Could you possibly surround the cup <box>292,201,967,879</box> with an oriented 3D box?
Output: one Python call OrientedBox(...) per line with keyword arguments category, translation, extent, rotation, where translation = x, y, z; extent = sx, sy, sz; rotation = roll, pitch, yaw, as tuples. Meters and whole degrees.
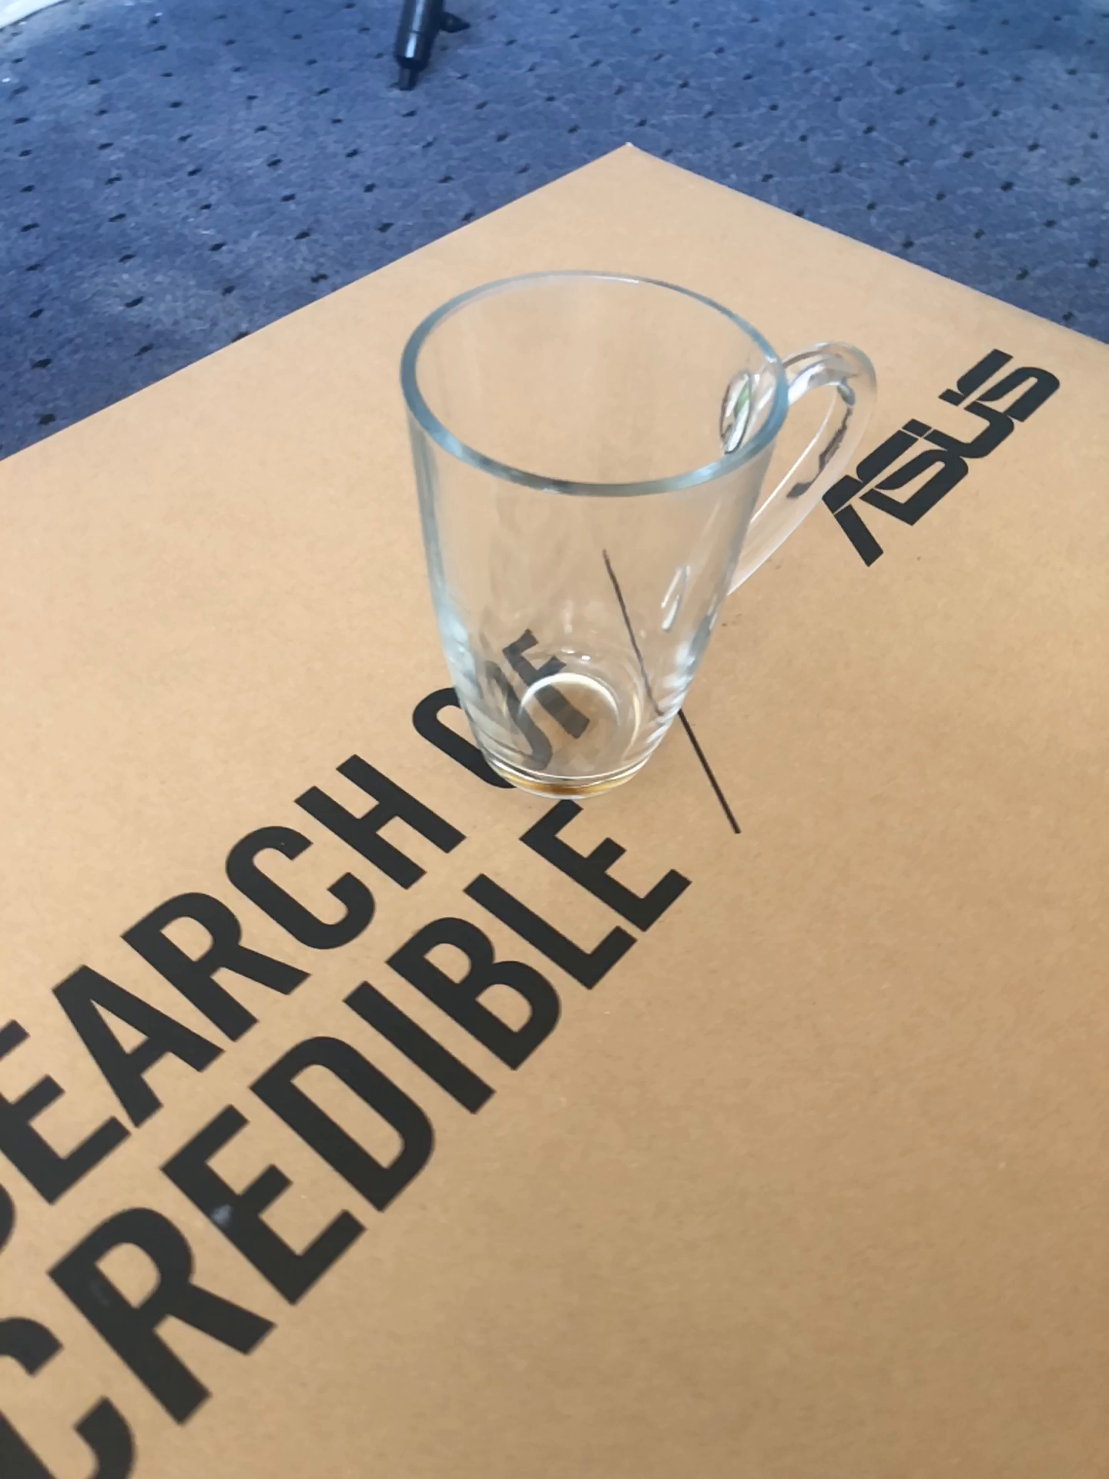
OrientedBox(category="cup", translation=(0.015, -0.049, 0.278), extent=(0.110, 0.090, 0.080), rotation=(-31, 56, -27))
